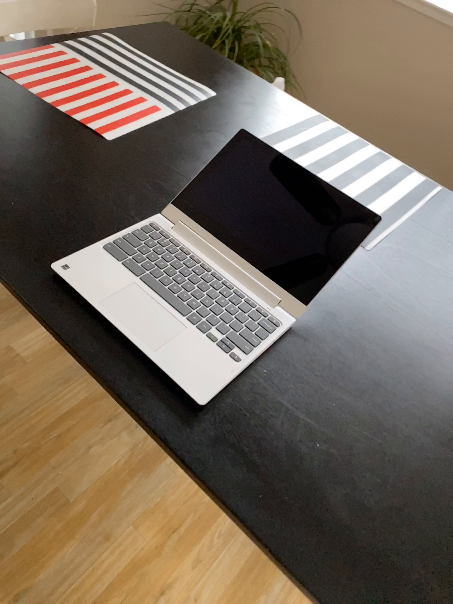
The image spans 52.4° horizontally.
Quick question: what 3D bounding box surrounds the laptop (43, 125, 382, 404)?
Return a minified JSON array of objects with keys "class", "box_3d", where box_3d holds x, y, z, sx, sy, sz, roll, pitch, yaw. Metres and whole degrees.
[{"class":"laptop","box_3d":[-0.002,-0.091,0.657,0.285,0.106,0.381,39,49,18]}]
